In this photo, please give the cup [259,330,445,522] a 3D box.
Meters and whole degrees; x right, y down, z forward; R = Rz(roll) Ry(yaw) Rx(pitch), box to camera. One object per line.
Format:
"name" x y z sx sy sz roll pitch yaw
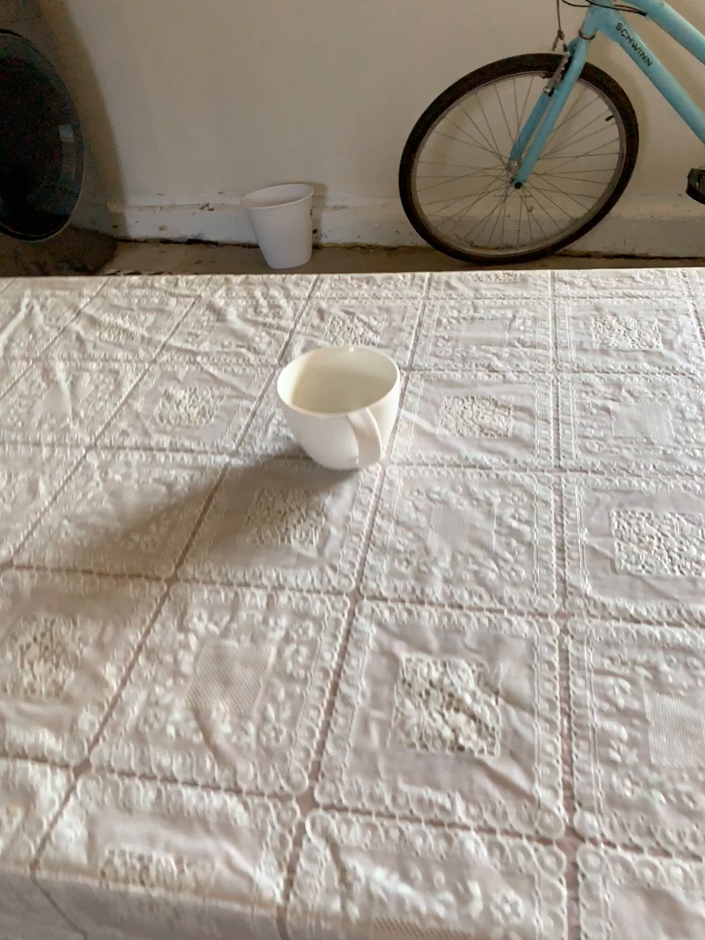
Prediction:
"cup" -0.002 -0.042 0.608 0.100 0.070 0.141 -22 43 -15
